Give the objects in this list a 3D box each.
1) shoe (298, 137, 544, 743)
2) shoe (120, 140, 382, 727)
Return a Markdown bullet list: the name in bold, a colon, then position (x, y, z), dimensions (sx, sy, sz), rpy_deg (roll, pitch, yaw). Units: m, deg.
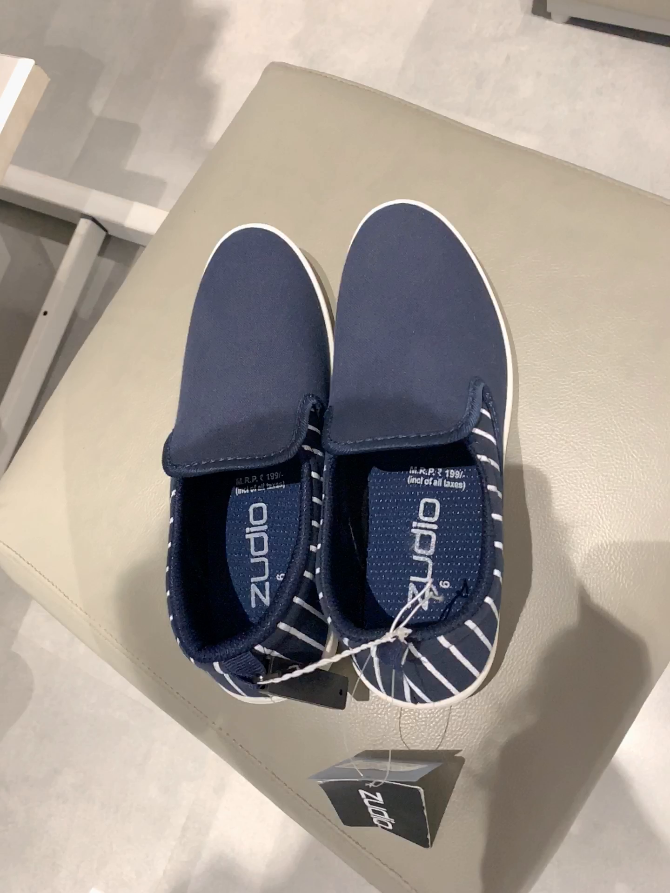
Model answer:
- **shoe**: position (0.044, -0.003, 0.352), dimensions (0.100, 0.090, 0.270), rpy_deg (-4, 76, 15)
- **shoe**: position (-0.047, -0.006, 0.374), dimensions (0.100, 0.090, 0.280), rpy_deg (-9, 75, 14)
